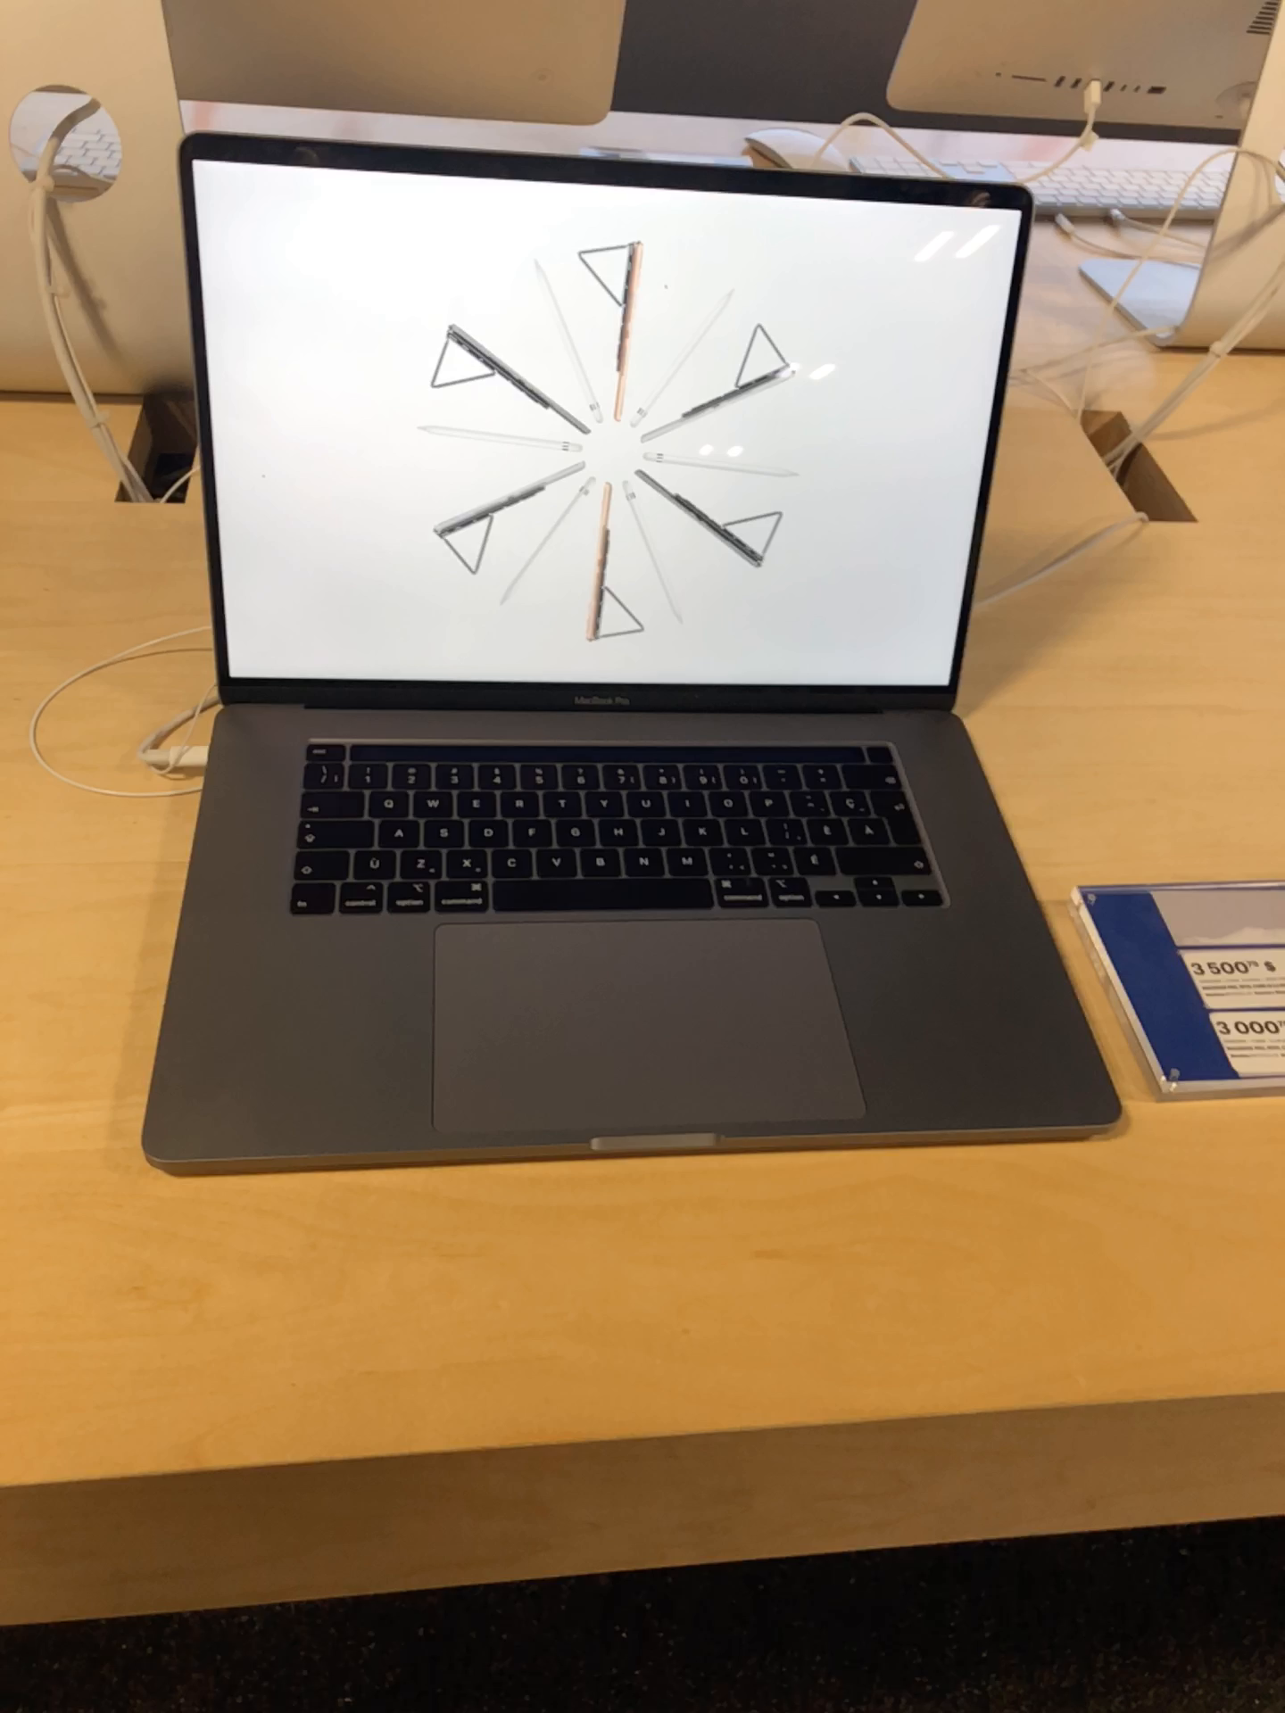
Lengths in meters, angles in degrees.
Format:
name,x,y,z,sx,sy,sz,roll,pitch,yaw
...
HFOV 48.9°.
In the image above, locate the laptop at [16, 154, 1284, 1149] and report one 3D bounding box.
name,x,y,z,sx,sy,sz,roll,pitch,yaw
laptop,-0.002,-0.088,0.553,0.352,0.230,0.316,0,44,-8
